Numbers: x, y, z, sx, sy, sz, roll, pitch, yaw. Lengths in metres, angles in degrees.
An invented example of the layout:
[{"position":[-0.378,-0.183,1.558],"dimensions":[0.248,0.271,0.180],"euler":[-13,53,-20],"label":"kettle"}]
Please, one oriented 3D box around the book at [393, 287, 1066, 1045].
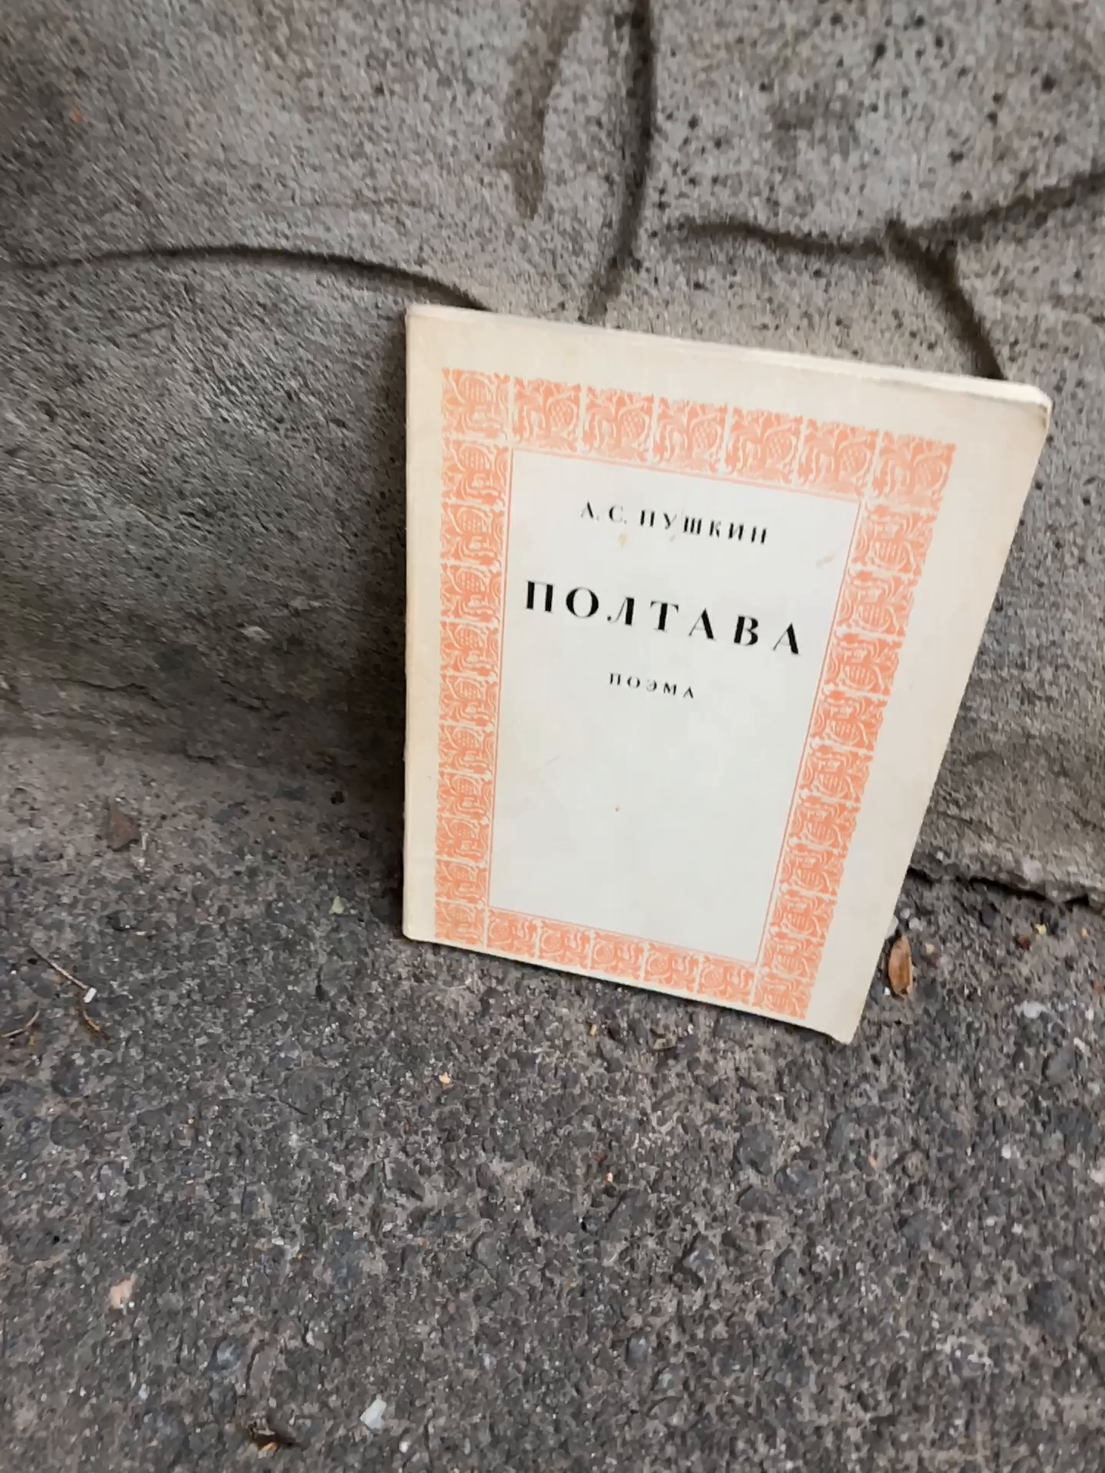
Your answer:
[{"position":[0.031,-0.008,0.335],"dimensions":[0.150,0.199,0.020],"euler":[12,36,10],"label":"book"}]
